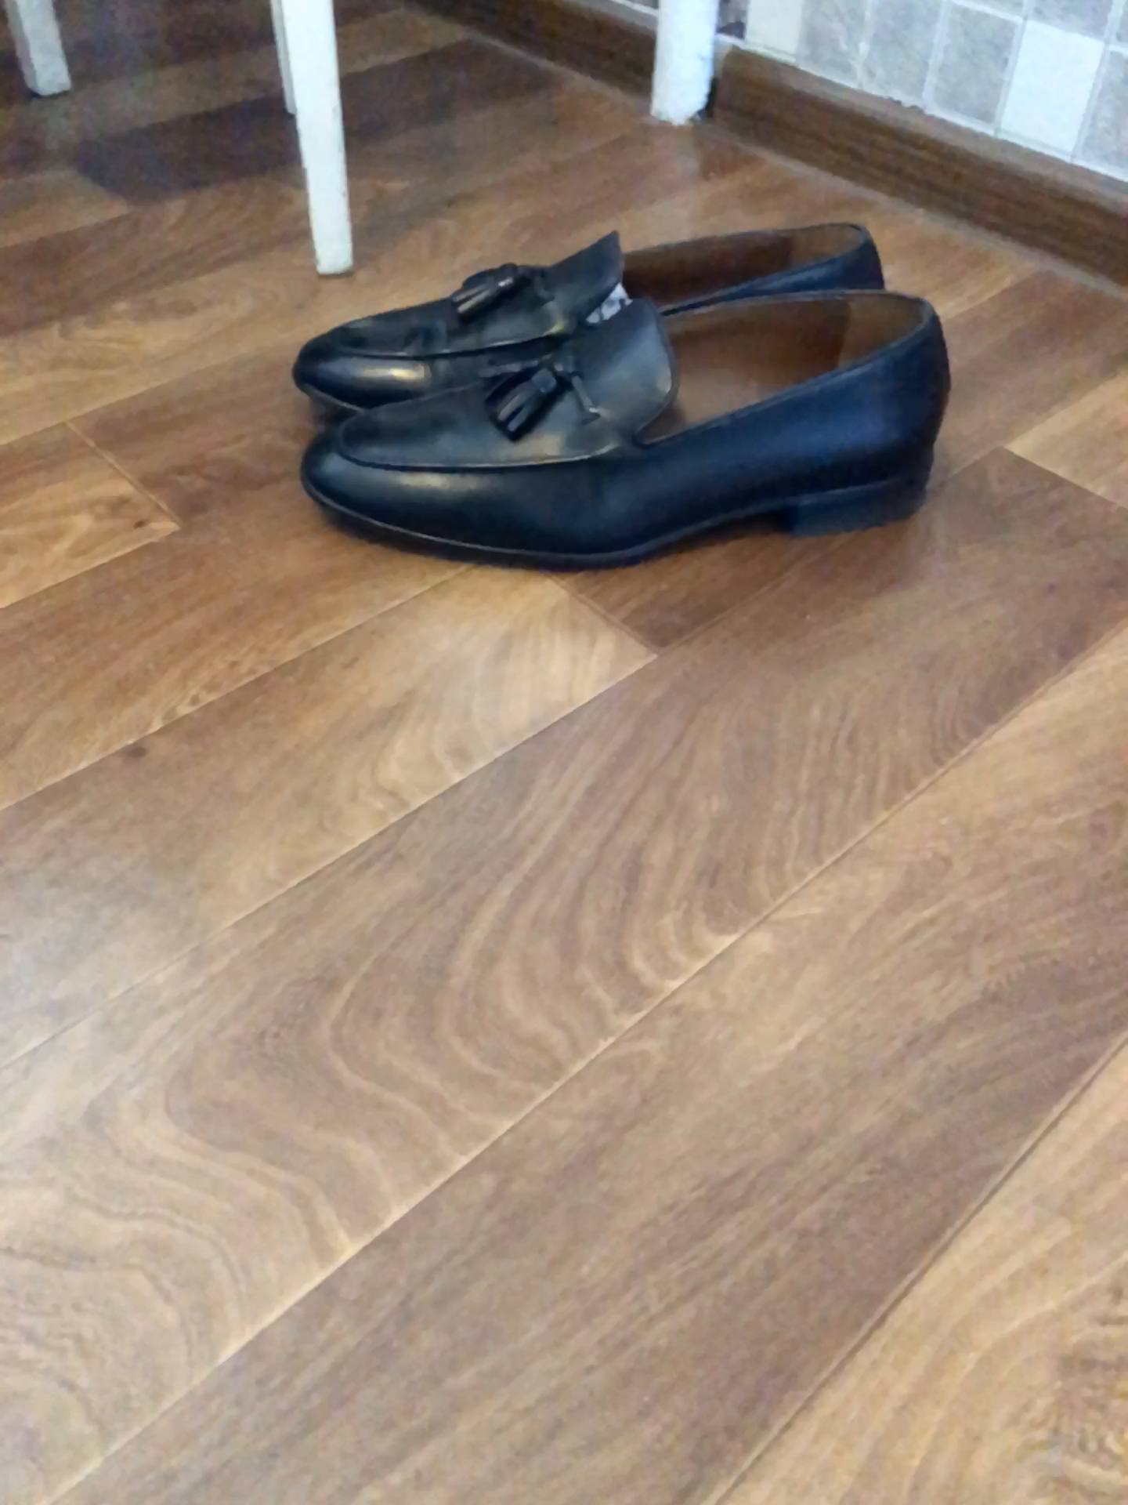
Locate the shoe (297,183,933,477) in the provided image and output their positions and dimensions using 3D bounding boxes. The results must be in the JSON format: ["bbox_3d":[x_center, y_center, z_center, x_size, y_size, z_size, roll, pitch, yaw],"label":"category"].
[{"bbox_3d":[0.016,-0.189,0.546,0.253,0.068,0.101,-6,47,-7],"label":"shoe"}]

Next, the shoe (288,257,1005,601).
[{"bbox_3d":[0.025,-0.131,0.489,0.253,0.068,0.101,-7,47,-7],"label":"shoe"}]
